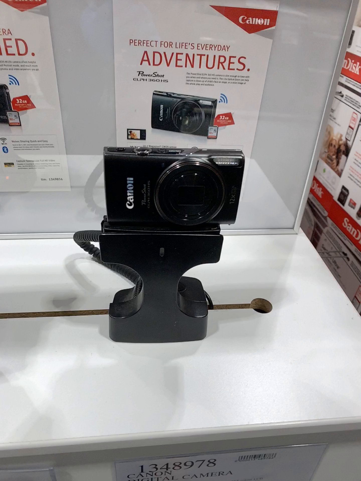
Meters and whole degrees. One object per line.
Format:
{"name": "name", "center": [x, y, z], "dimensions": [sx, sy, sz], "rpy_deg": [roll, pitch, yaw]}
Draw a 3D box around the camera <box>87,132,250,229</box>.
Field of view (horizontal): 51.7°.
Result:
{"name": "camera", "center": [-0.010, -0.045, 0.285], "dimensions": [0.110, 0.060, 0.040], "rpy_deg": [0, 33, -4]}
